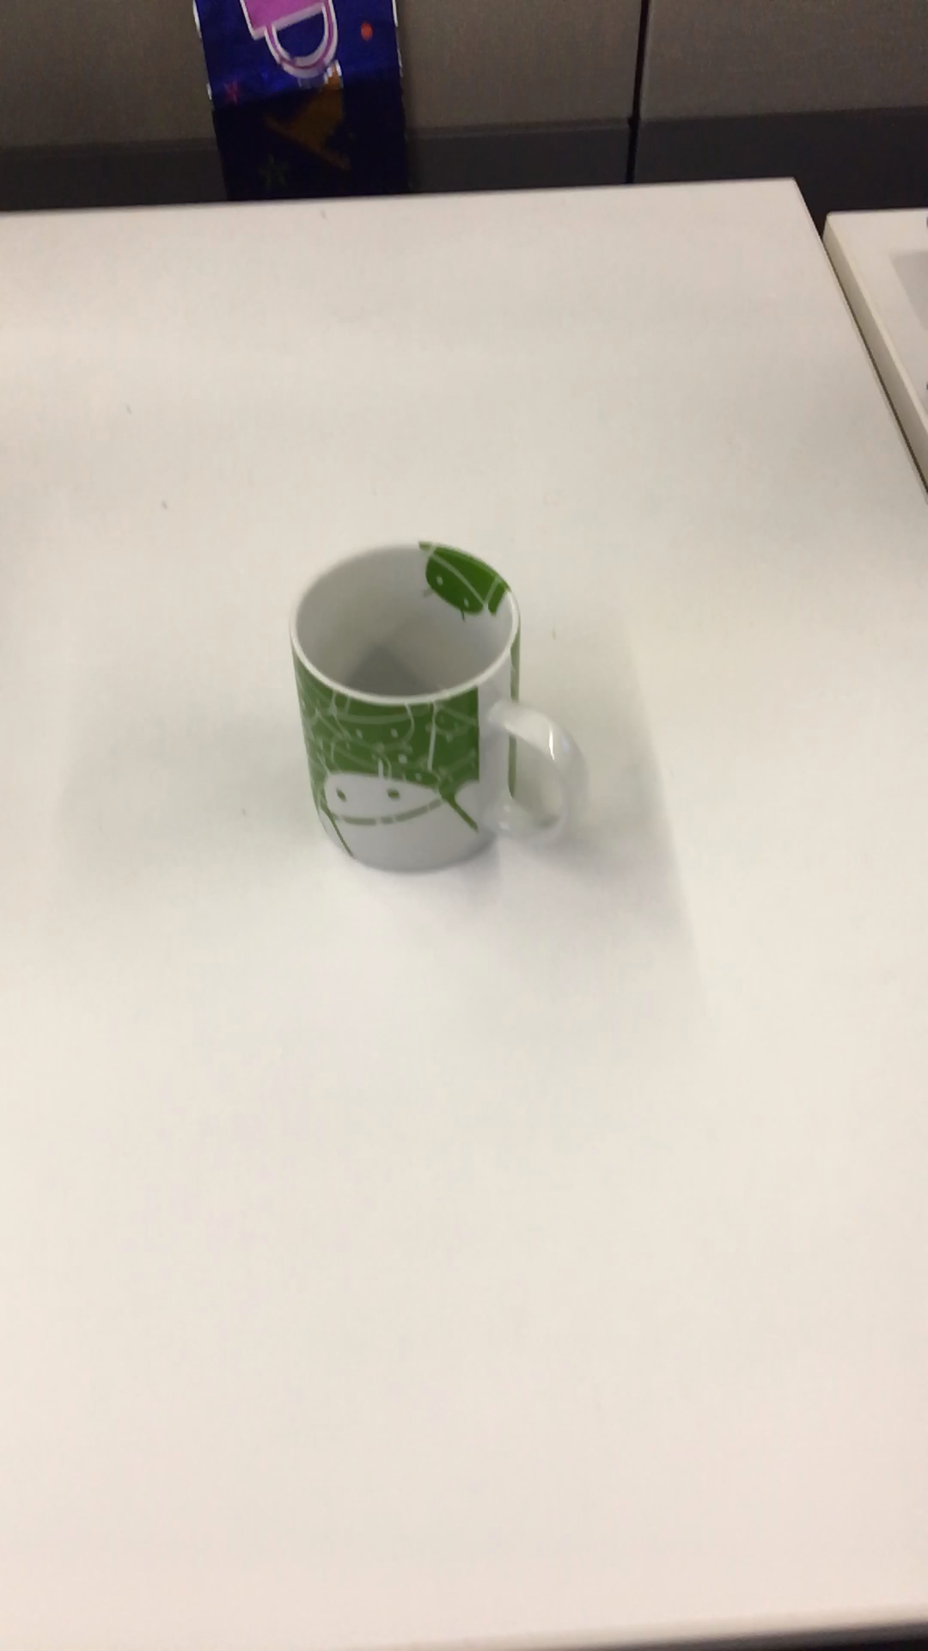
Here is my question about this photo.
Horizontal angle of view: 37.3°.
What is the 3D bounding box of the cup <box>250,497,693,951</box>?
[{"bbox_3d":[0.003,-0.038,0.501,0.120,0.090,0.090,27,57,20],"label":"cup"}]
